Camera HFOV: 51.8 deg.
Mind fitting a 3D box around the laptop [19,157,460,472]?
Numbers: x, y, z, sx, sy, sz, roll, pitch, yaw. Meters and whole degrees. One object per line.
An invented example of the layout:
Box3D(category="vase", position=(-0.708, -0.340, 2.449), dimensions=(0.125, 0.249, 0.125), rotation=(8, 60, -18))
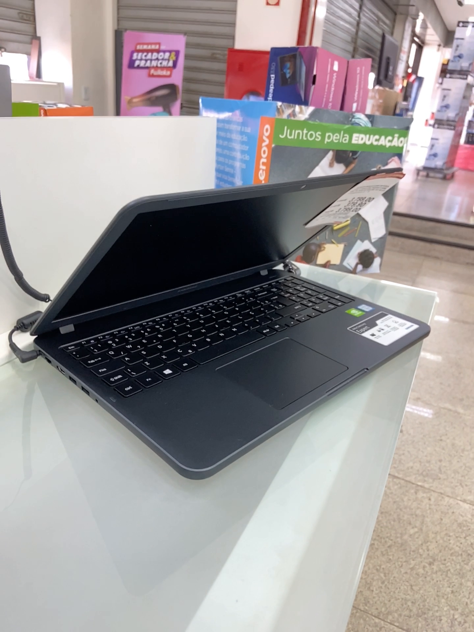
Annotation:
Box3D(category="laptop", position=(0.020, -0.054, 0.483), dimensions=(0.231, 0.158, 0.358), rotation=(25, 31, 37))
